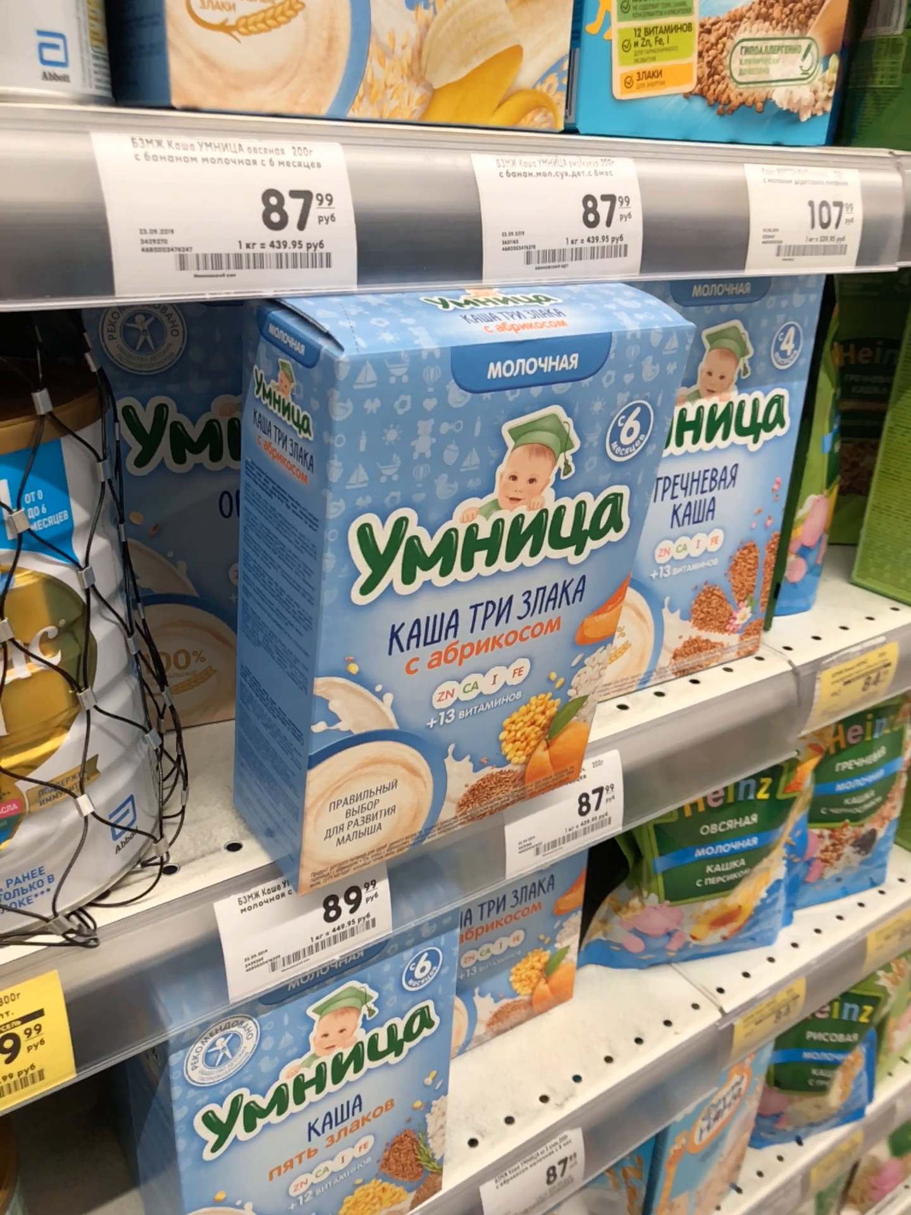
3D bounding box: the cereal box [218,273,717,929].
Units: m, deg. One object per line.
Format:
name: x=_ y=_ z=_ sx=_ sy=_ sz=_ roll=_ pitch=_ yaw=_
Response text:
cereal box: x=-0.004 y=-0.004 z=0.361 sx=0.140 sy=0.209 sz=0.060 roll=-14 pitch=38 yaw=-34
